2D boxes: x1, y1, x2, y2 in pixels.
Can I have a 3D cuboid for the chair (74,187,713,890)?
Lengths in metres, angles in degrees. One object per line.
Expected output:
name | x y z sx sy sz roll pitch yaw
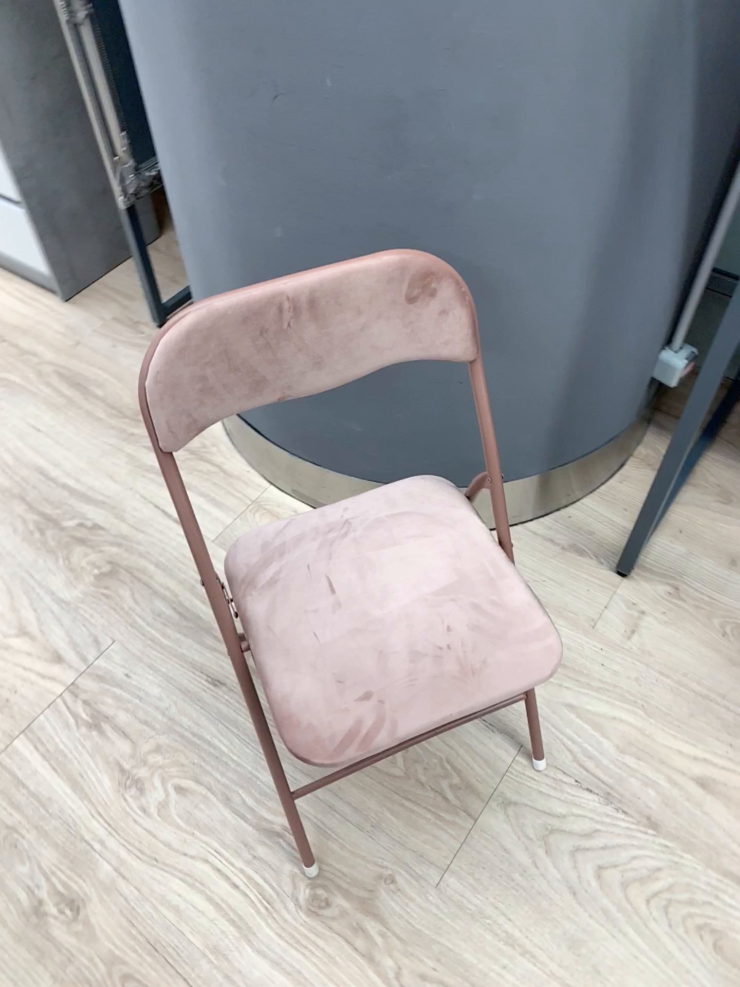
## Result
chair | -0.004 0.117 1.048 0.460 0.797 0.482 -21 54 -15
